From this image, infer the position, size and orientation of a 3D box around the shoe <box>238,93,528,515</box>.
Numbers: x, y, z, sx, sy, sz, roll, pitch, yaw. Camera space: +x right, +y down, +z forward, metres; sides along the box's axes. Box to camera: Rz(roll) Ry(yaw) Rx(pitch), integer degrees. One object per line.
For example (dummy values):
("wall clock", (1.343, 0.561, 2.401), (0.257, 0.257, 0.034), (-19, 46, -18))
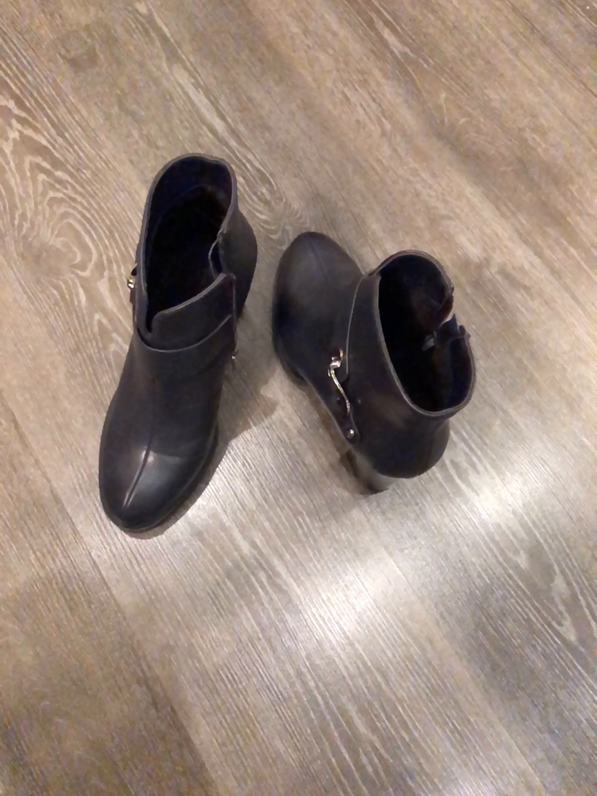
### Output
("shoe", (0.037, -0.047, 0.453), (0.090, 0.190, 0.210), (-18, 74, -8))

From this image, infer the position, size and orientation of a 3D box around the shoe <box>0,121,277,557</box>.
("shoe", (-0.090, -0.020, 0.429), (0.090, 0.190, 0.210), (17, 72, 3))
